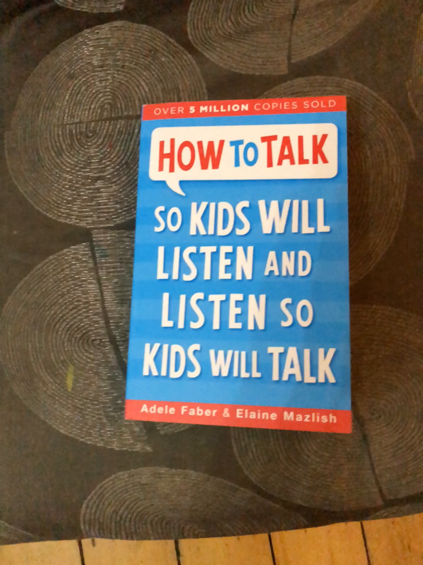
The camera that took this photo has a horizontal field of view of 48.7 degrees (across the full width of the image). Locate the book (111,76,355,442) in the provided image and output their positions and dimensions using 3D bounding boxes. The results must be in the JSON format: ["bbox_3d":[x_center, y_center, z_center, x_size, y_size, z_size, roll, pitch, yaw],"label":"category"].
[{"bbox_3d":[0.014,-0.016,0.291,0.140,0.030,0.210,1,85,8],"label":"book"}]
